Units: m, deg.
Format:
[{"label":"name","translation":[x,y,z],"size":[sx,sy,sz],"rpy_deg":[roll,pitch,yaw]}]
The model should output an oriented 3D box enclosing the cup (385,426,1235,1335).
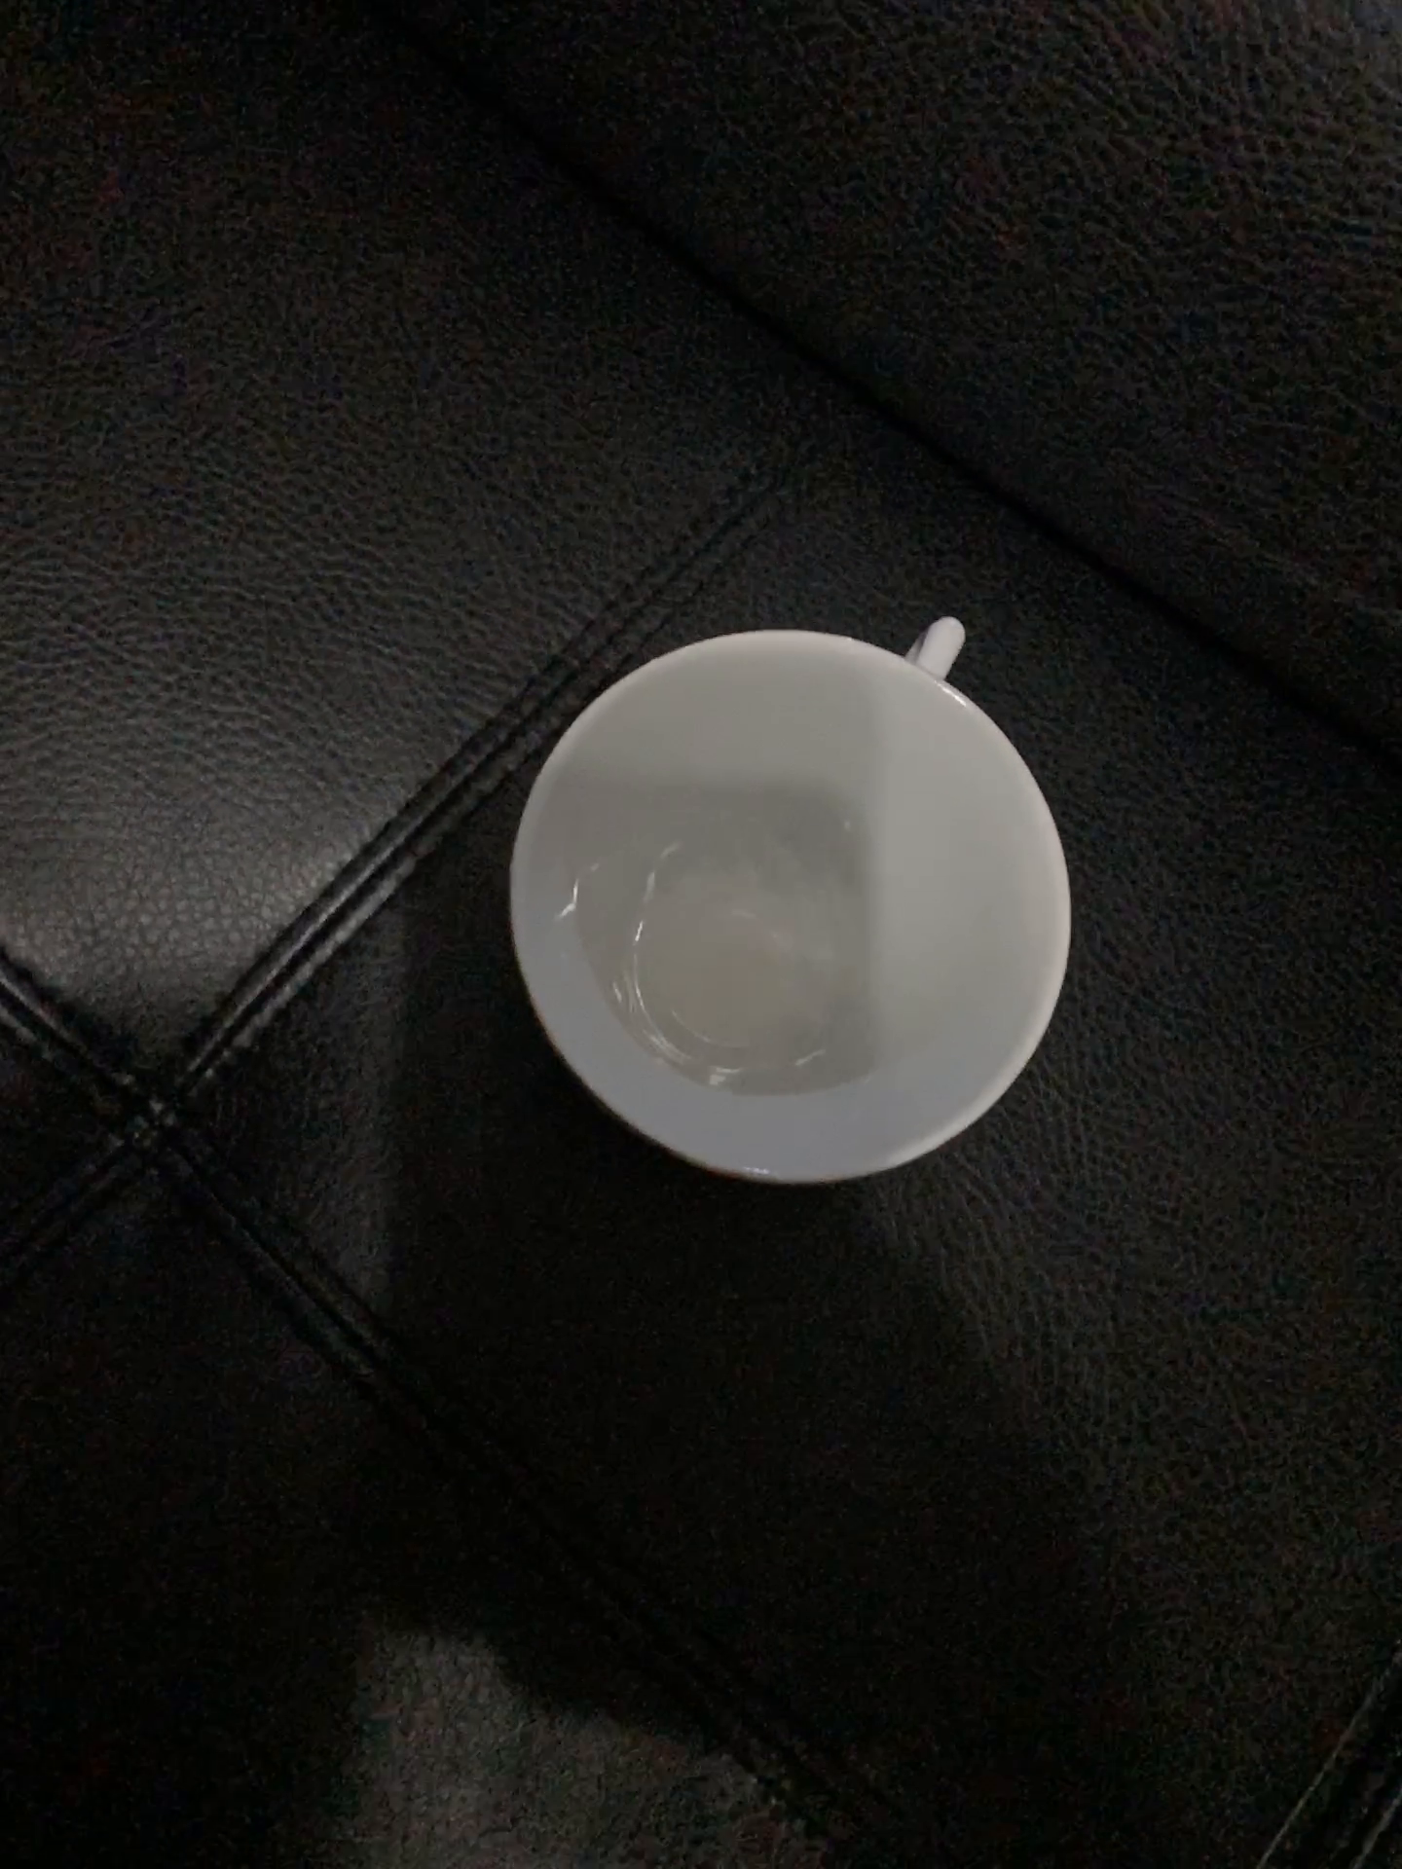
[{"label":"cup","translation":[0.017,-0.006,0.251],"size":[0.093,0.059,0.114],"rpy_deg":[29,73,-2]}]
